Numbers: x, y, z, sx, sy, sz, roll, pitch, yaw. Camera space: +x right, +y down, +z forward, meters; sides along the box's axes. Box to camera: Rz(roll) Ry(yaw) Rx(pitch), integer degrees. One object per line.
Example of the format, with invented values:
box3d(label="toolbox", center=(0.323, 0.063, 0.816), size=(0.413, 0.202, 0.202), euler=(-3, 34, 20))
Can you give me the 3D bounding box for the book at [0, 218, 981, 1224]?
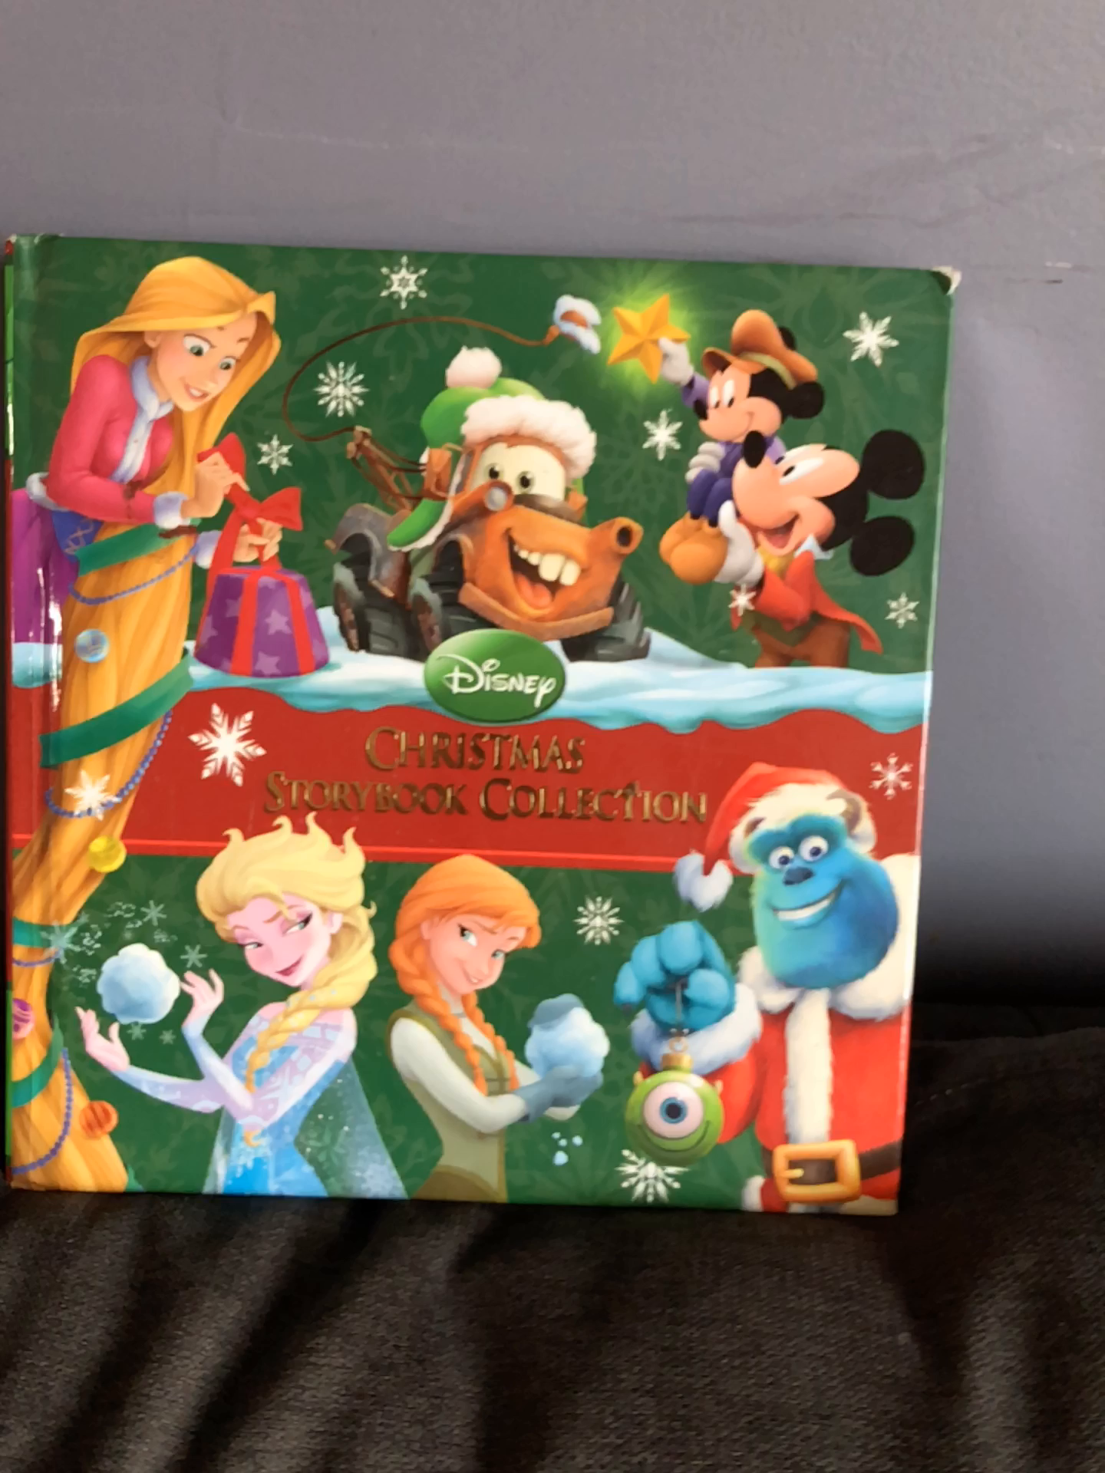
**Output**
box3d(label="book", center=(-0.018, 0.000, 0.316), size=(0.227, 0.238, 0.033), euler=(2, 7, 0))
